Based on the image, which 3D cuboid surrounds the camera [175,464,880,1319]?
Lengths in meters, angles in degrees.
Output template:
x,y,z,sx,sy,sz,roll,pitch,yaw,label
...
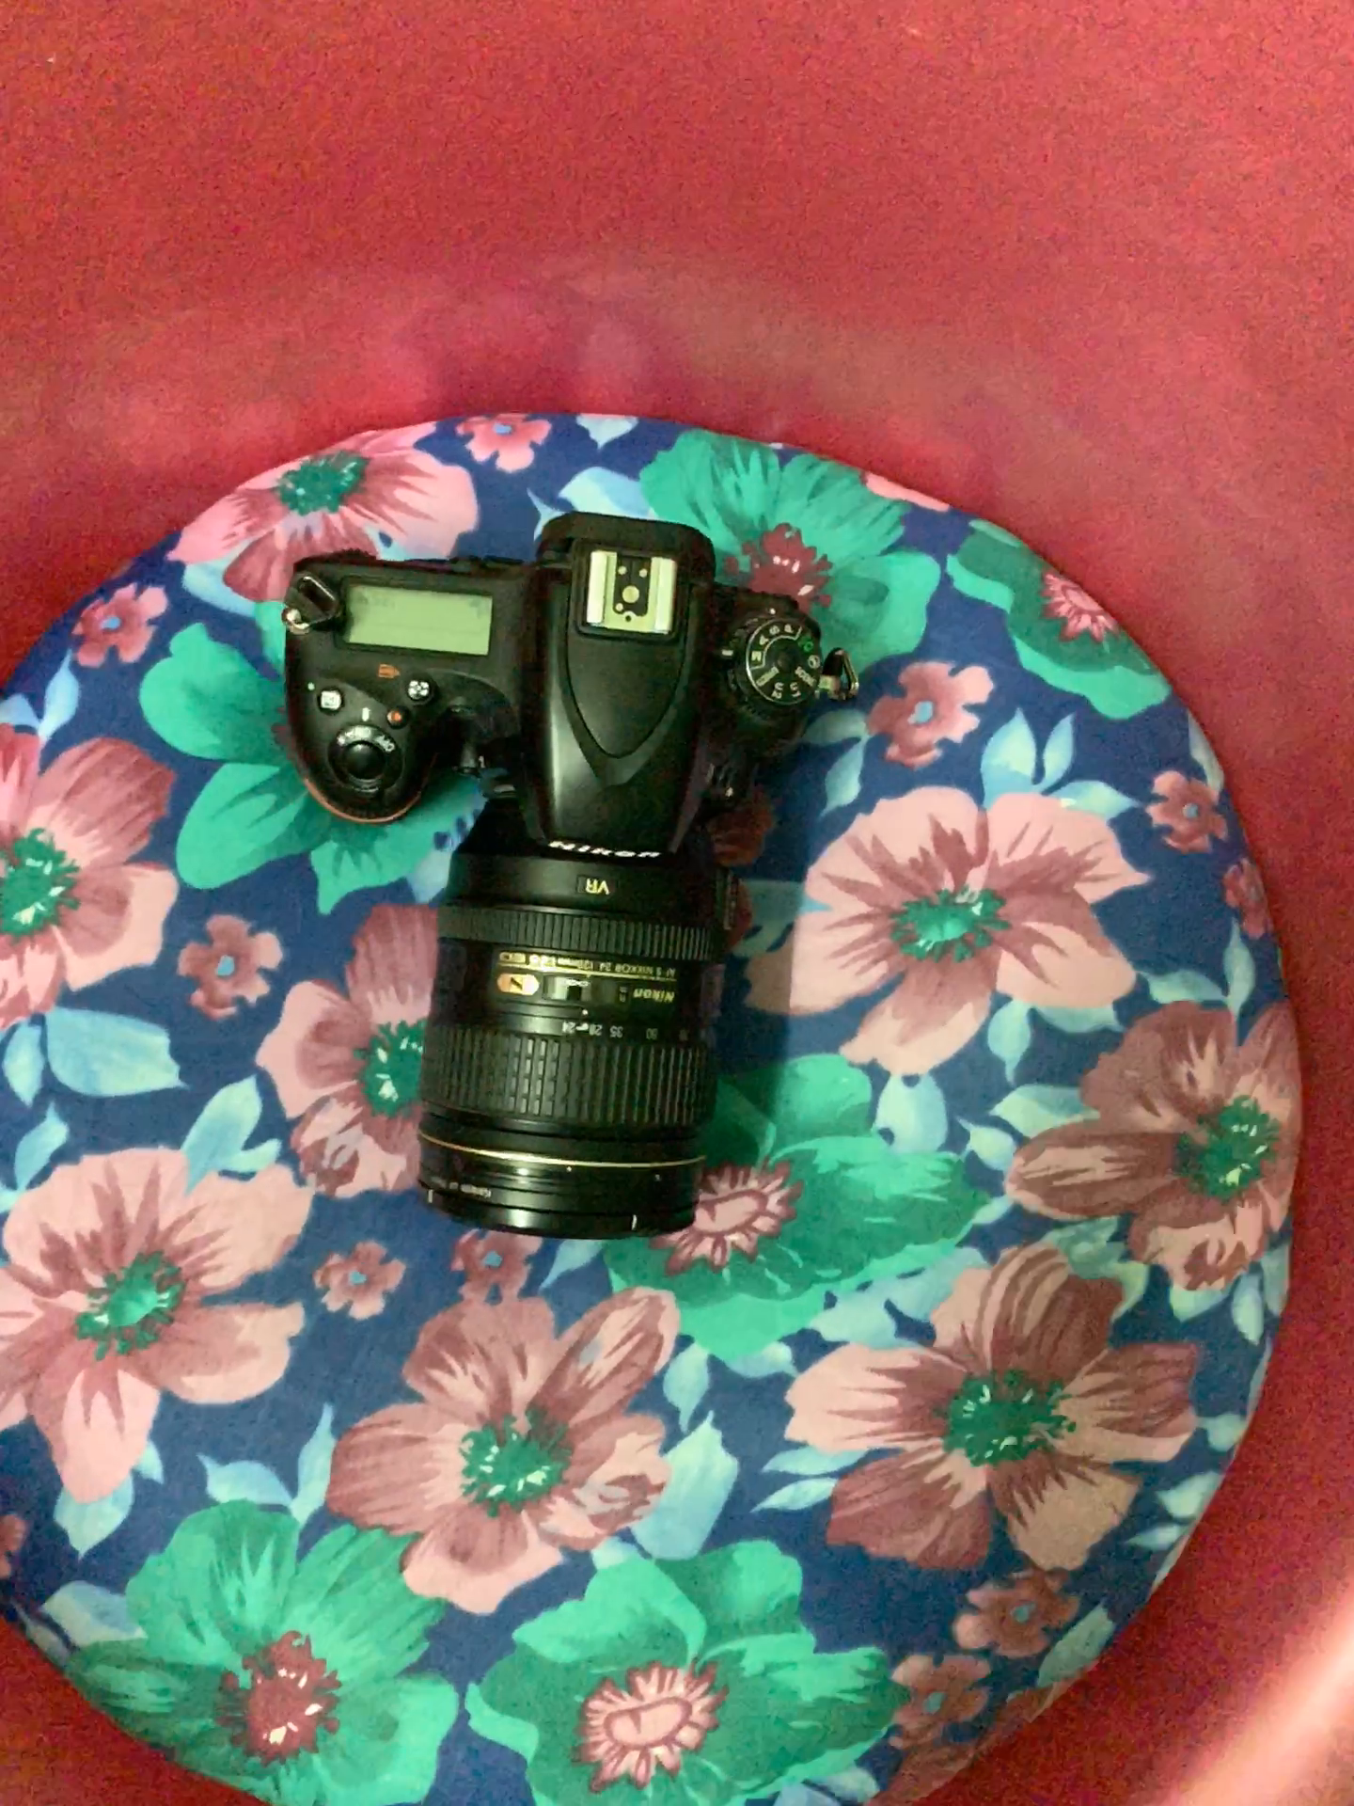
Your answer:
x,y,z,sx,sy,sz,roll,pitch,yaw,label
-0.034,0.001,0.367,0.140,0.111,0.179,6,85,-3,camera
